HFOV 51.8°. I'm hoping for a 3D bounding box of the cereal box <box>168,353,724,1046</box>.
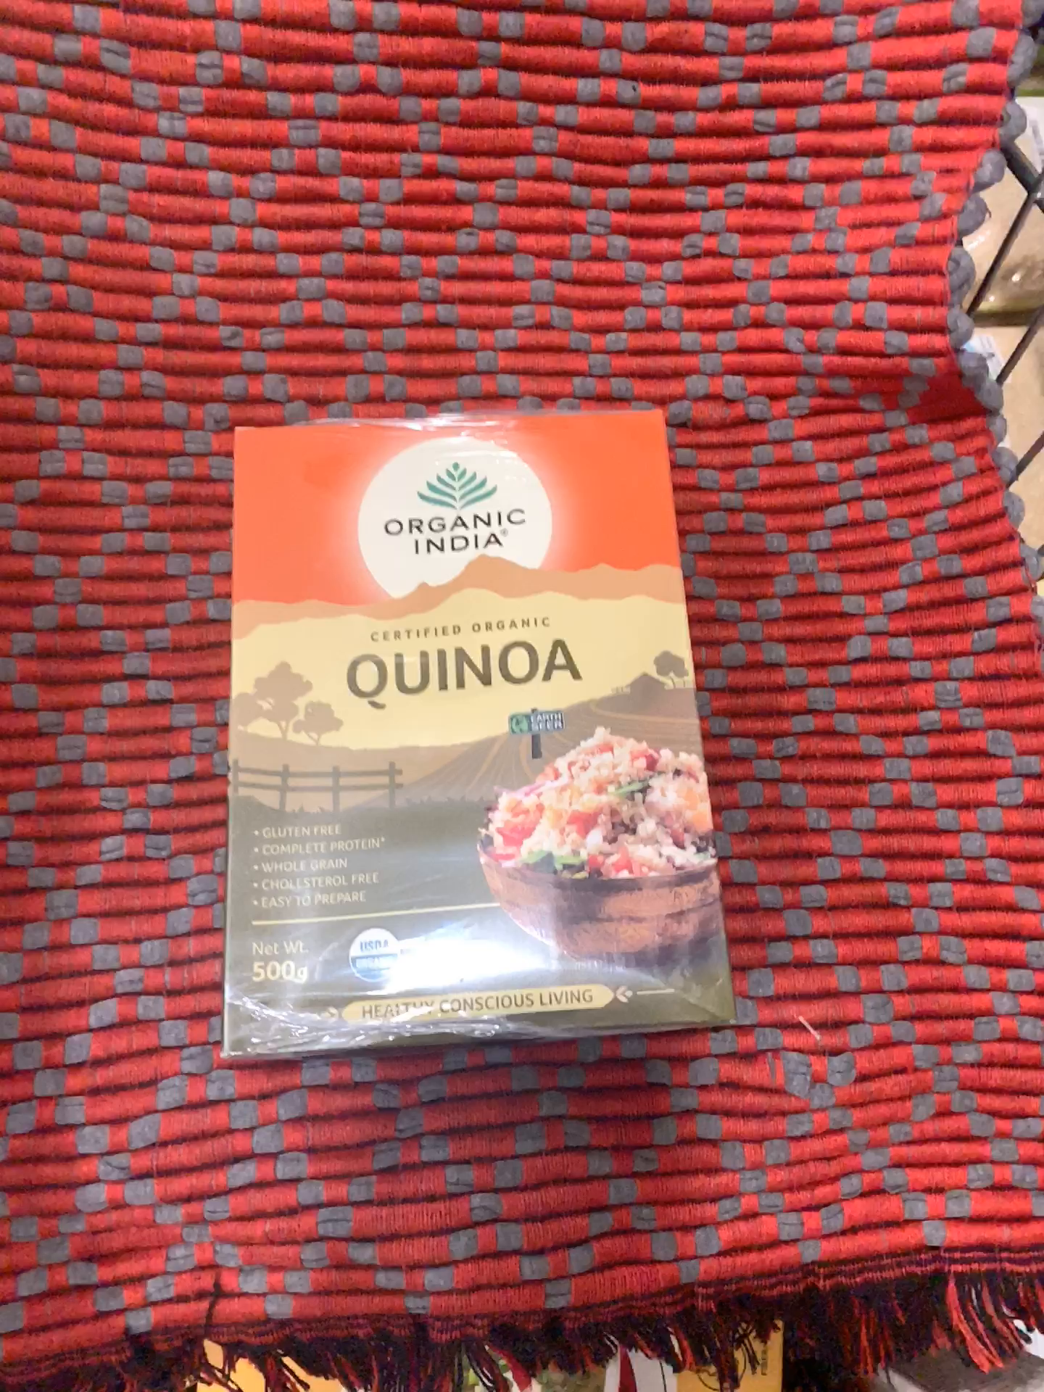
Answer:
[{"bbox_3d":[-0.023,0.002,0.311,0.130,0.070,0.180,-3,73,-2],"label":"cereal box"}]
